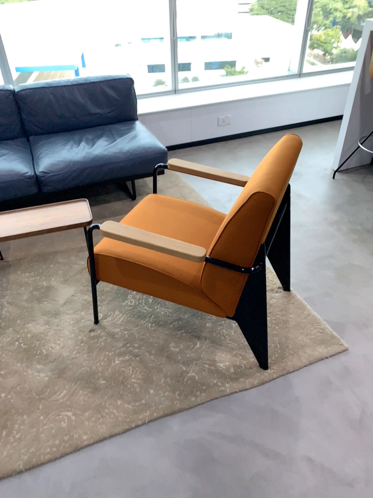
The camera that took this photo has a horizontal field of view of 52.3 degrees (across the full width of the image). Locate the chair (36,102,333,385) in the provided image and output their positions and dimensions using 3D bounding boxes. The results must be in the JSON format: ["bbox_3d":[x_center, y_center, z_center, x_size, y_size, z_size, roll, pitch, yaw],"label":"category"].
[{"bbox_3d":[0.046,-0.094,1.606,0.861,0.734,0.735,14,39,19],"label":"chair"}]
